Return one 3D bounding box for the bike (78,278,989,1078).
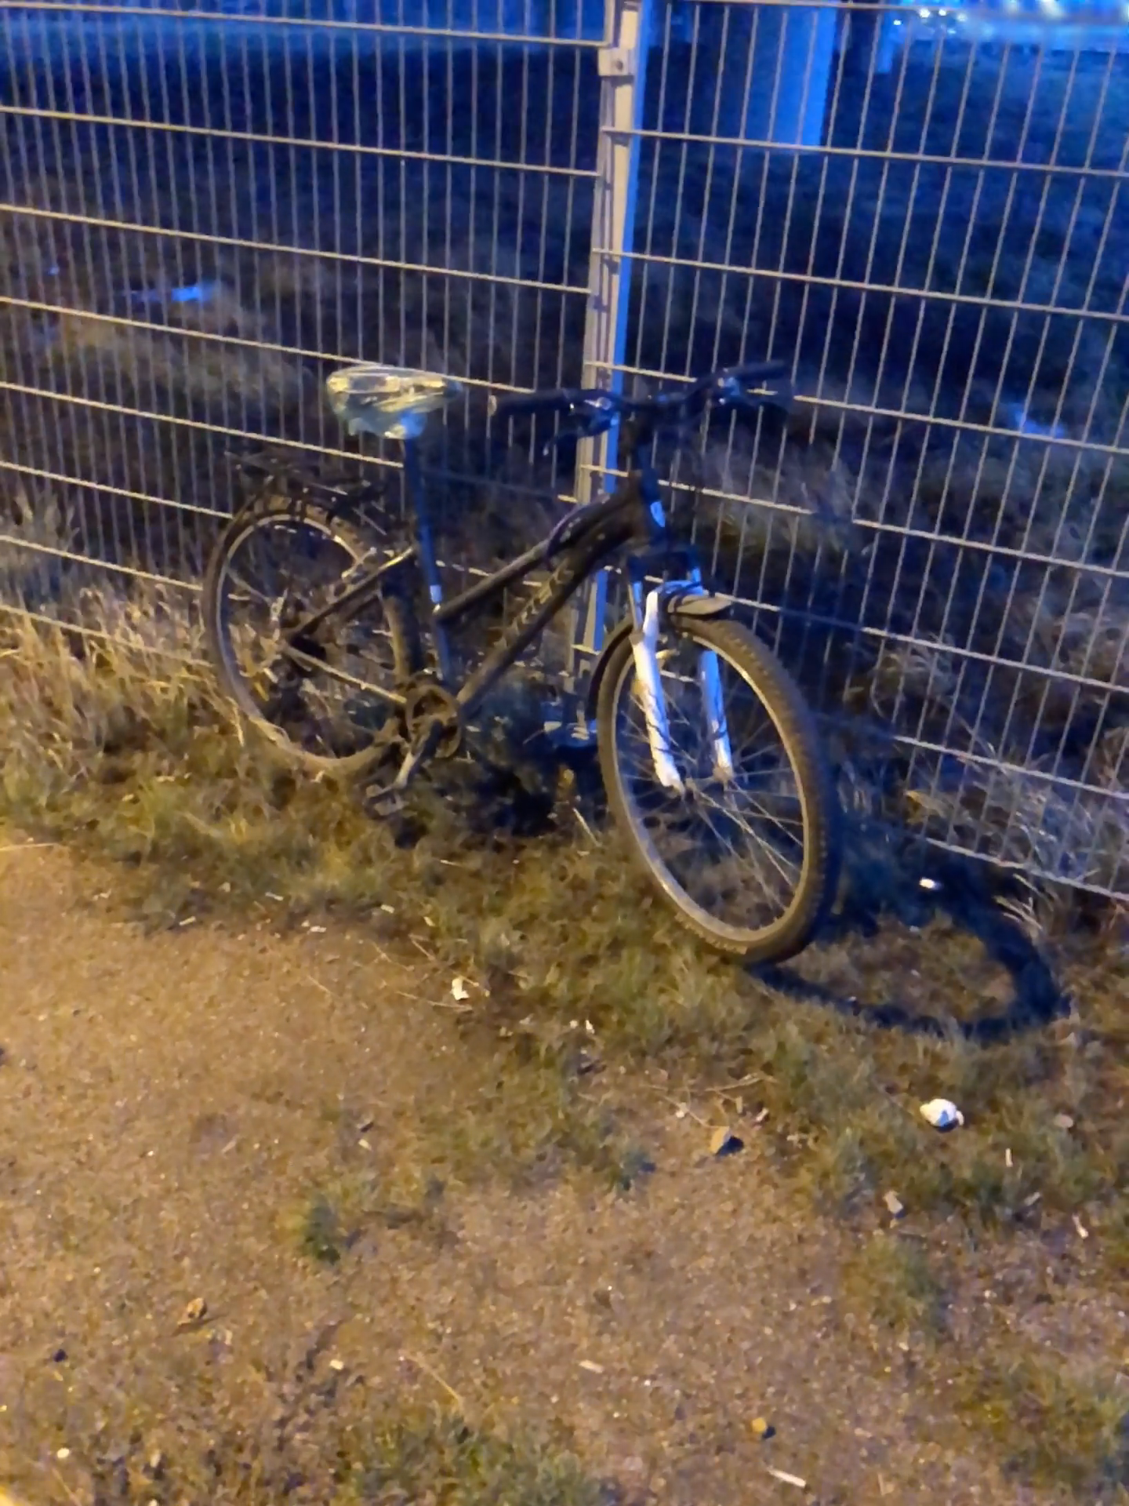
[{"bbox_3d":[-0.167,-0.279,2.288,1.587,0.947,0.571,23,35,34],"label":"bike"}]
